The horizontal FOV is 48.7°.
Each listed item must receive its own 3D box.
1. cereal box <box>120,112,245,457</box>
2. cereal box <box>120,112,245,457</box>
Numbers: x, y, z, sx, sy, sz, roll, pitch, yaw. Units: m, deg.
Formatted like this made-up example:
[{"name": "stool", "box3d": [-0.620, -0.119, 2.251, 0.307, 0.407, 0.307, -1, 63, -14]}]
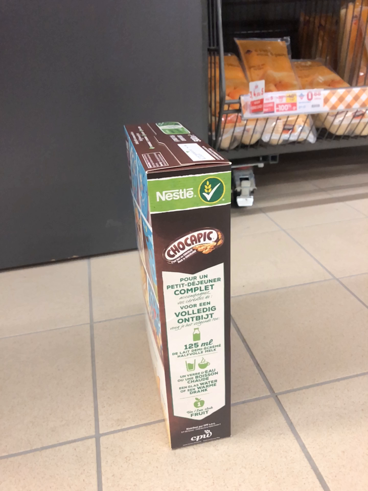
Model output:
[{"name": "cereal box", "box3d": [-0.008, 0.026, 0.424, 0.070, 0.288, 0.201, -8, 26, -10]}, {"name": "cereal box", "box3d": [-0.008, 0.026, 0.424, 0.070, 0.288, 0.201, -8, 26, -10]}]
